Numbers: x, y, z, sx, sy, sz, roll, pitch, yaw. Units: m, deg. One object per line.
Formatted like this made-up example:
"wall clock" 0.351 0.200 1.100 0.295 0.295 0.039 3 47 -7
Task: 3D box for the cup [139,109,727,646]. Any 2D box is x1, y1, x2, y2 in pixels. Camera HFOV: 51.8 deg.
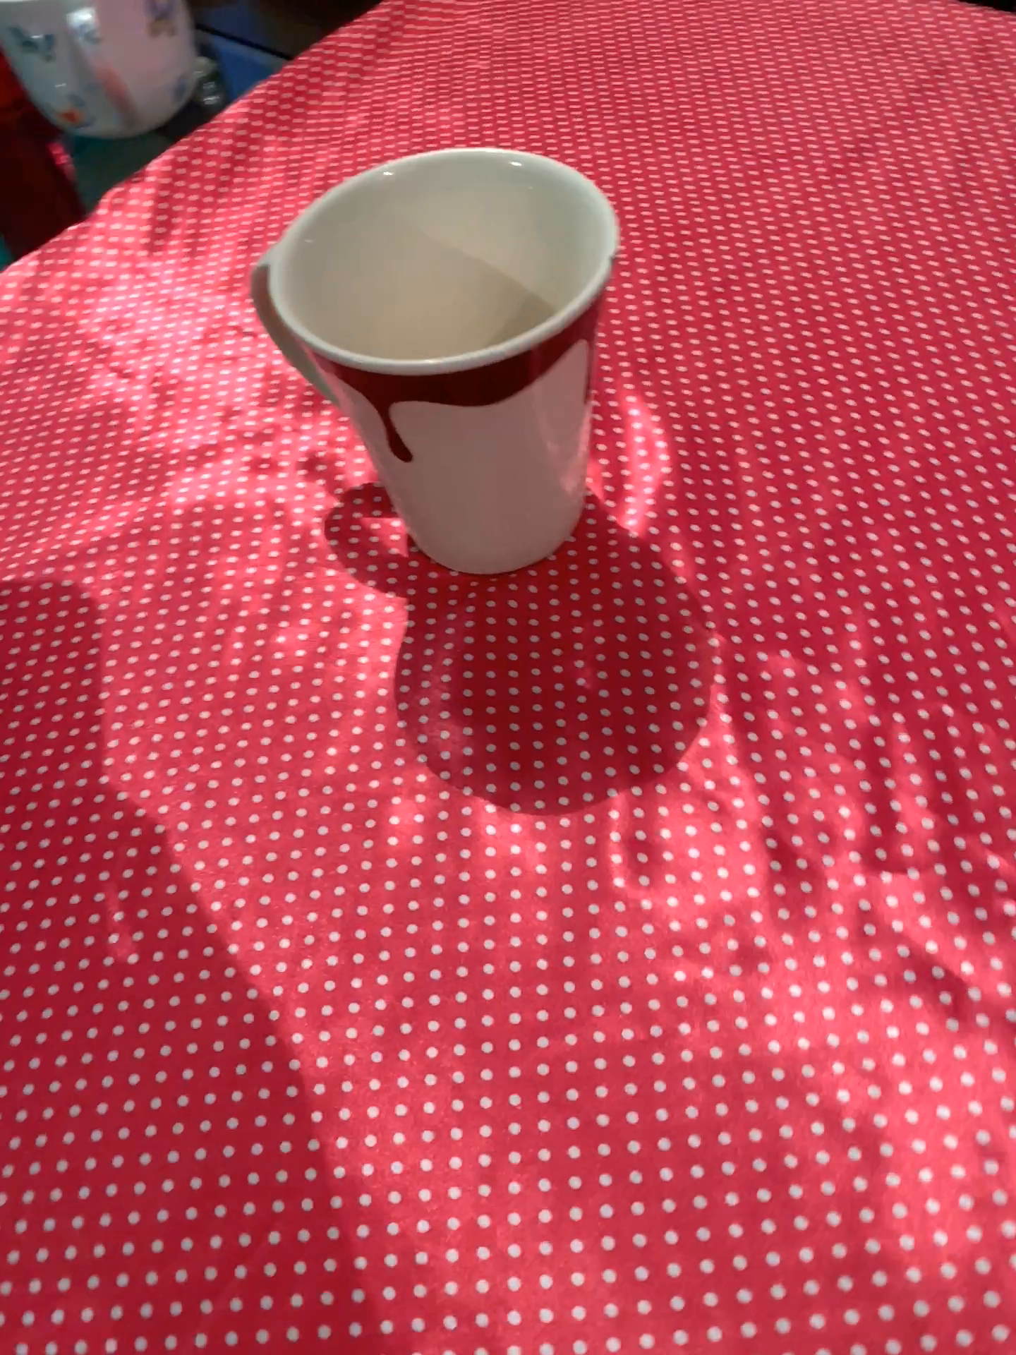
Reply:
"cup" -0.015 -0.095 0.322 0.130 0.090 0.100 22 63 22
